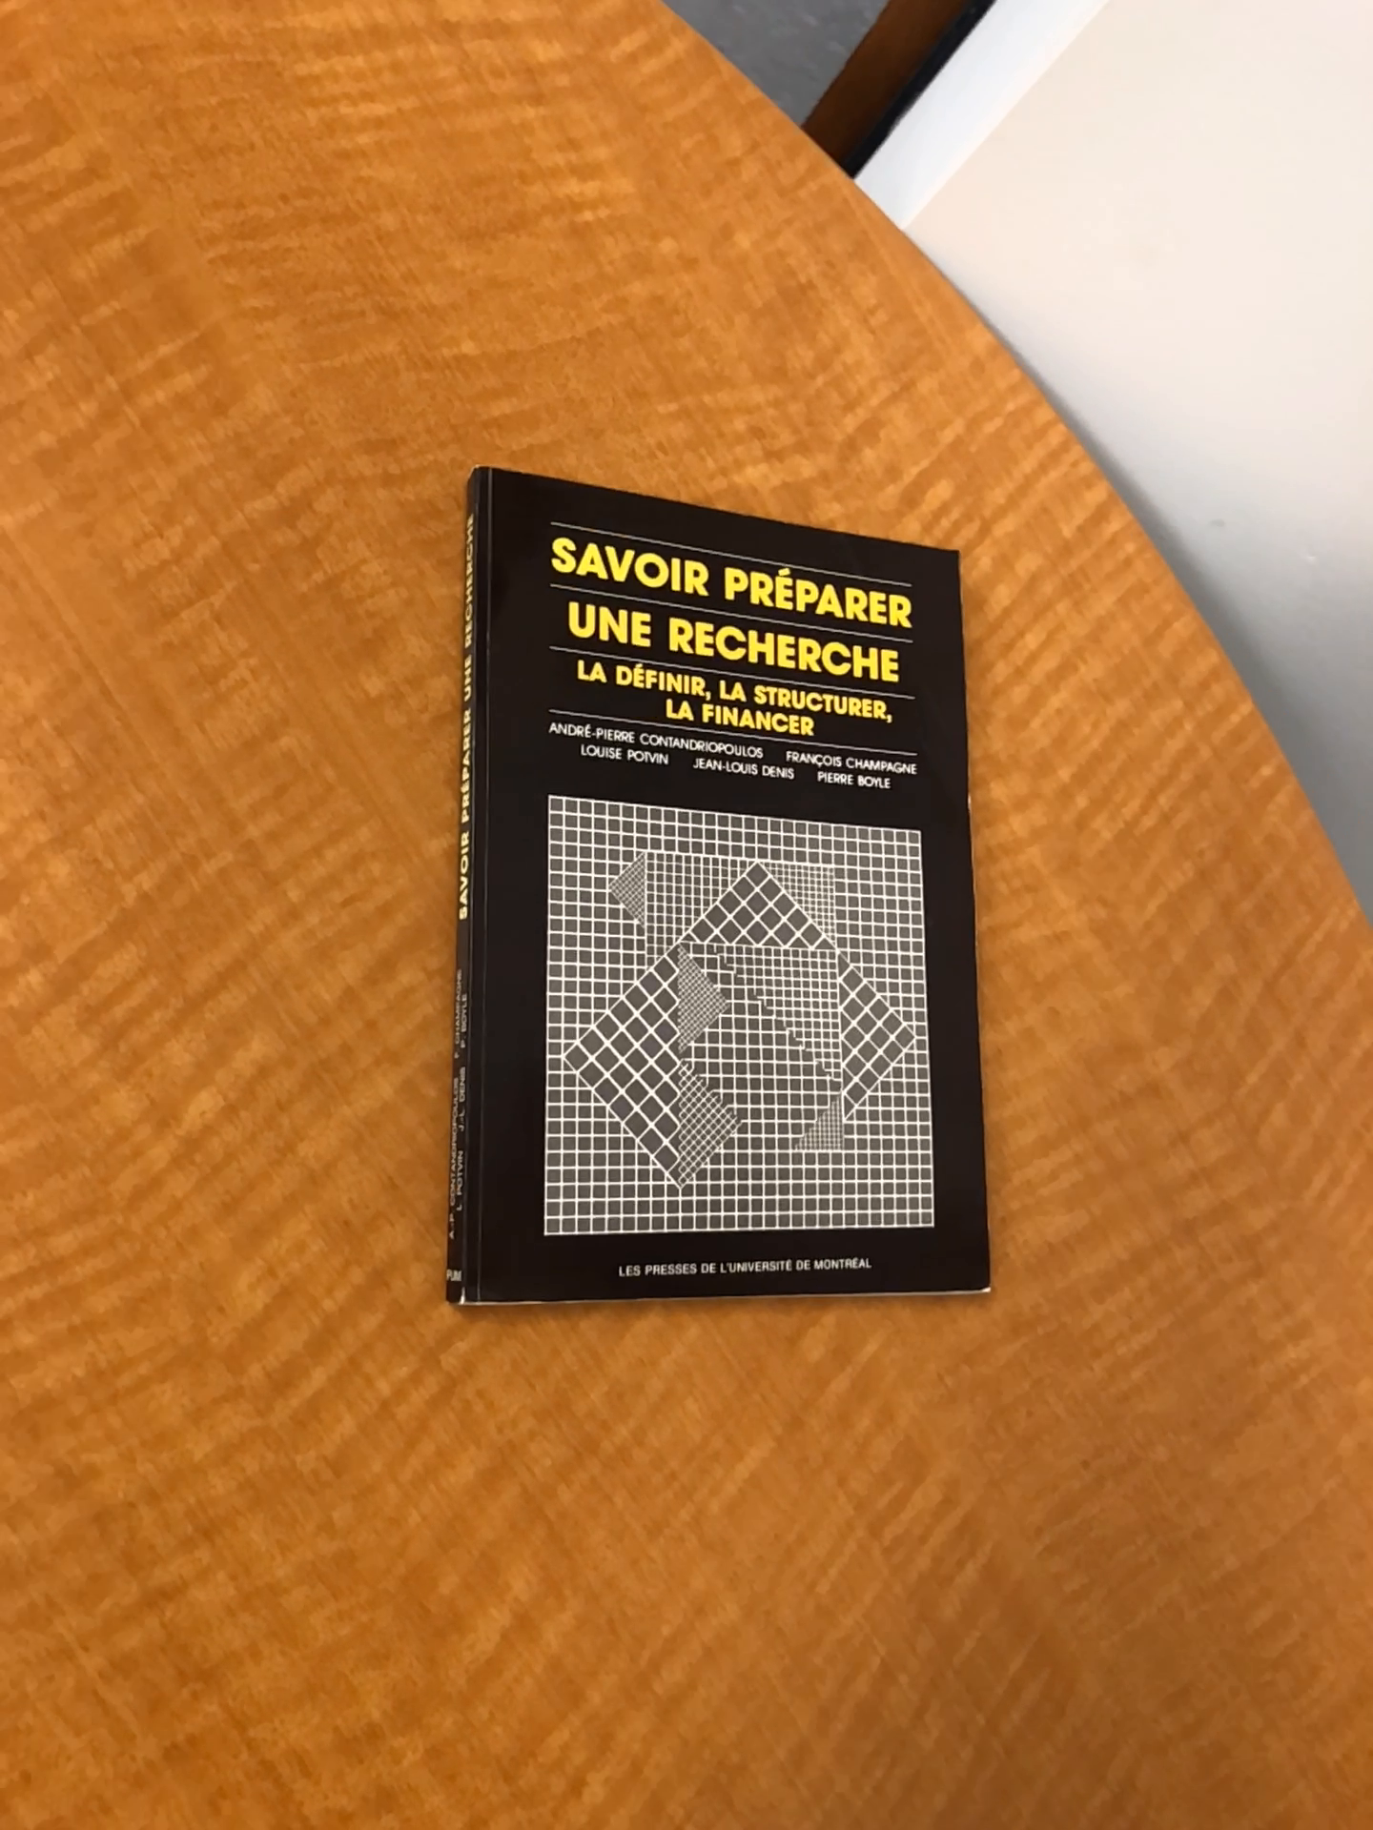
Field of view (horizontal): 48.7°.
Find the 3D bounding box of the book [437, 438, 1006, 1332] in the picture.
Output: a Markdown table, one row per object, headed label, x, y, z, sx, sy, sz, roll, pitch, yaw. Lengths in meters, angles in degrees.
| label | x | y | z | sx | sy | sz | roll | pitch | yaw |
| --- | --- | --- | --- | --- | --- | --- | --- | --- | --- |
| book | 0.010 | -0.008 | 0.443 | 0.160 | 0.030 | 0.240 | 3 | 78 | -24 |
